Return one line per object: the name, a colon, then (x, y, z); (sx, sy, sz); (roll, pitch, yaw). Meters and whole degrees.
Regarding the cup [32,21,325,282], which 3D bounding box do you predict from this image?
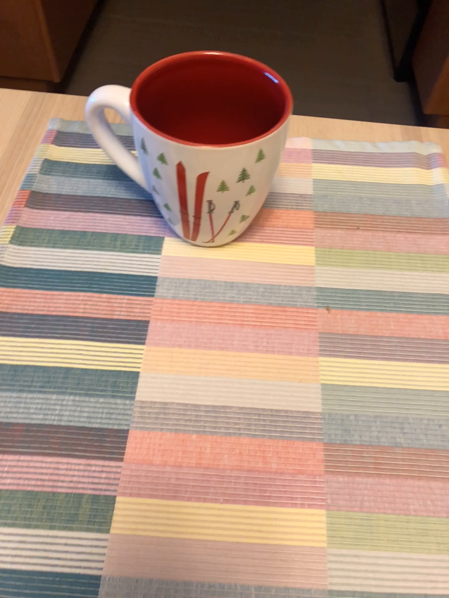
cup: (-0.023, -0.095, 0.321); (0.140, 0.090, 0.100); (17, 57, 8)
